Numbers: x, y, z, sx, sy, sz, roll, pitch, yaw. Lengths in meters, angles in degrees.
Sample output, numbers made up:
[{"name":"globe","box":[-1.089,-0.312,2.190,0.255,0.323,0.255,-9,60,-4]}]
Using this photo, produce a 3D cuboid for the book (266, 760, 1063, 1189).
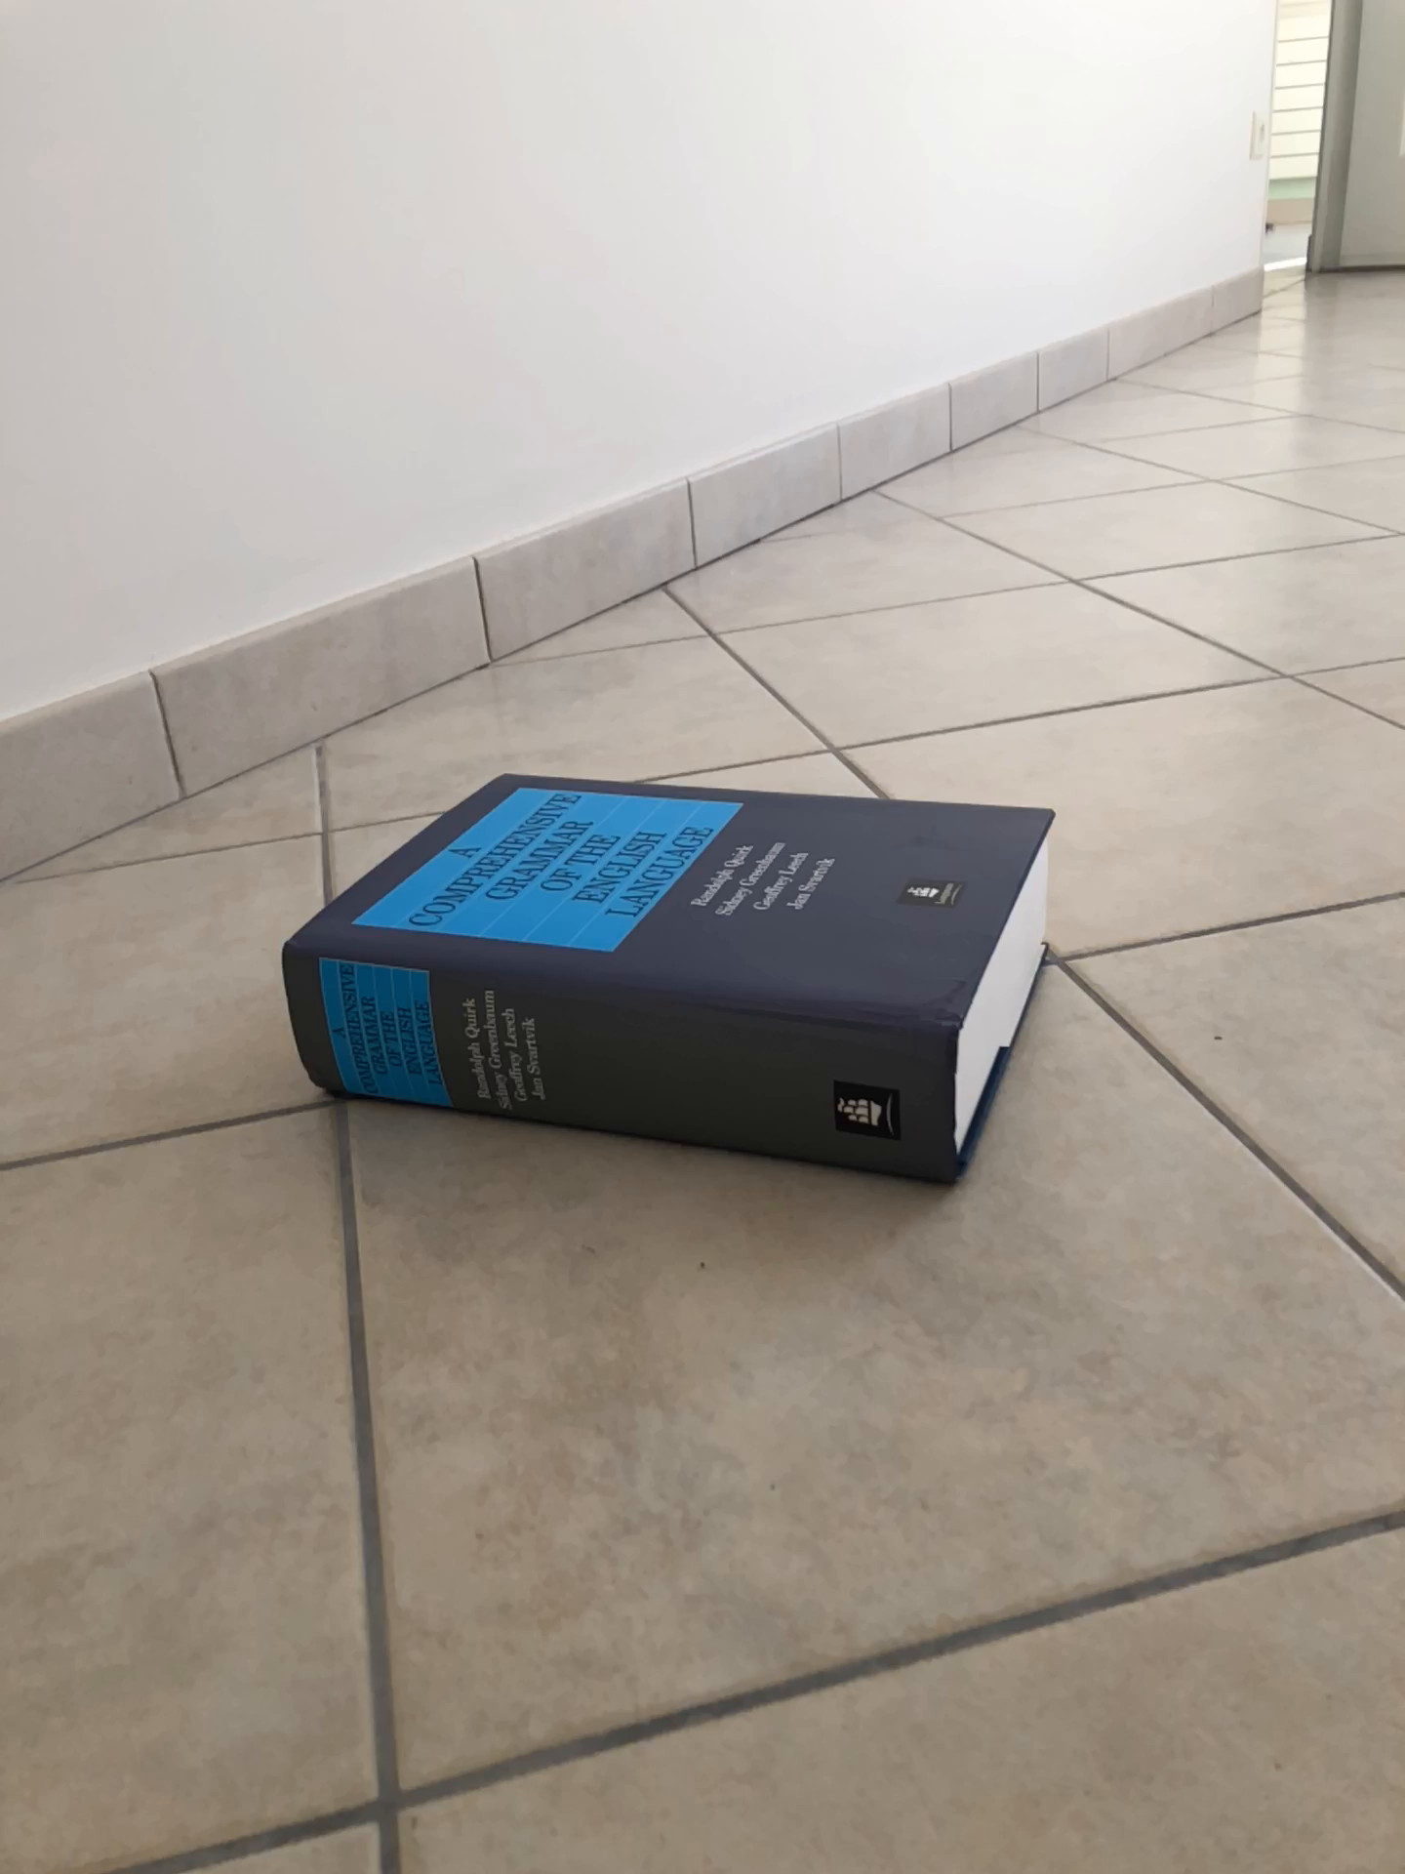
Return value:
[{"name":"book","box":[-0.004,0.000,0.602,0.256,0.066,0.182,5,28,20]}]
